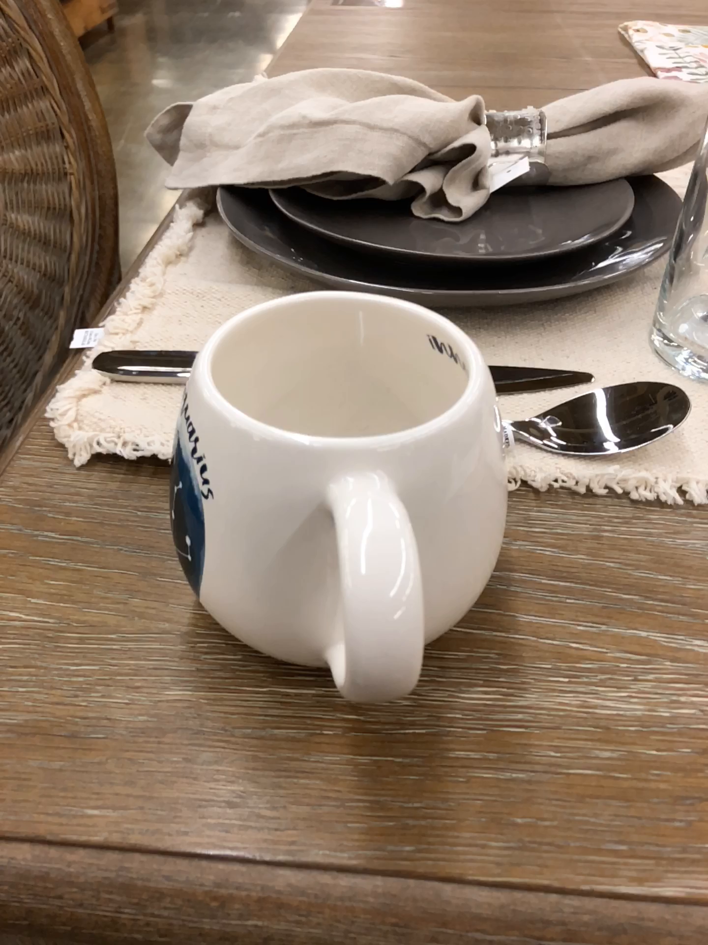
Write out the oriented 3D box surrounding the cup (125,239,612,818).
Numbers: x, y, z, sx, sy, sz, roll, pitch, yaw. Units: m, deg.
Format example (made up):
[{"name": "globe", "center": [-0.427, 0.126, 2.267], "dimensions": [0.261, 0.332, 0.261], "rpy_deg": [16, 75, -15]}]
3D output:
[{"name": "cup", "center": [-0.008, 0.004, 0.224], "dimensions": [0.082, 0.081, 0.135], "rpy_deg": [-12, 41, -15]}]
